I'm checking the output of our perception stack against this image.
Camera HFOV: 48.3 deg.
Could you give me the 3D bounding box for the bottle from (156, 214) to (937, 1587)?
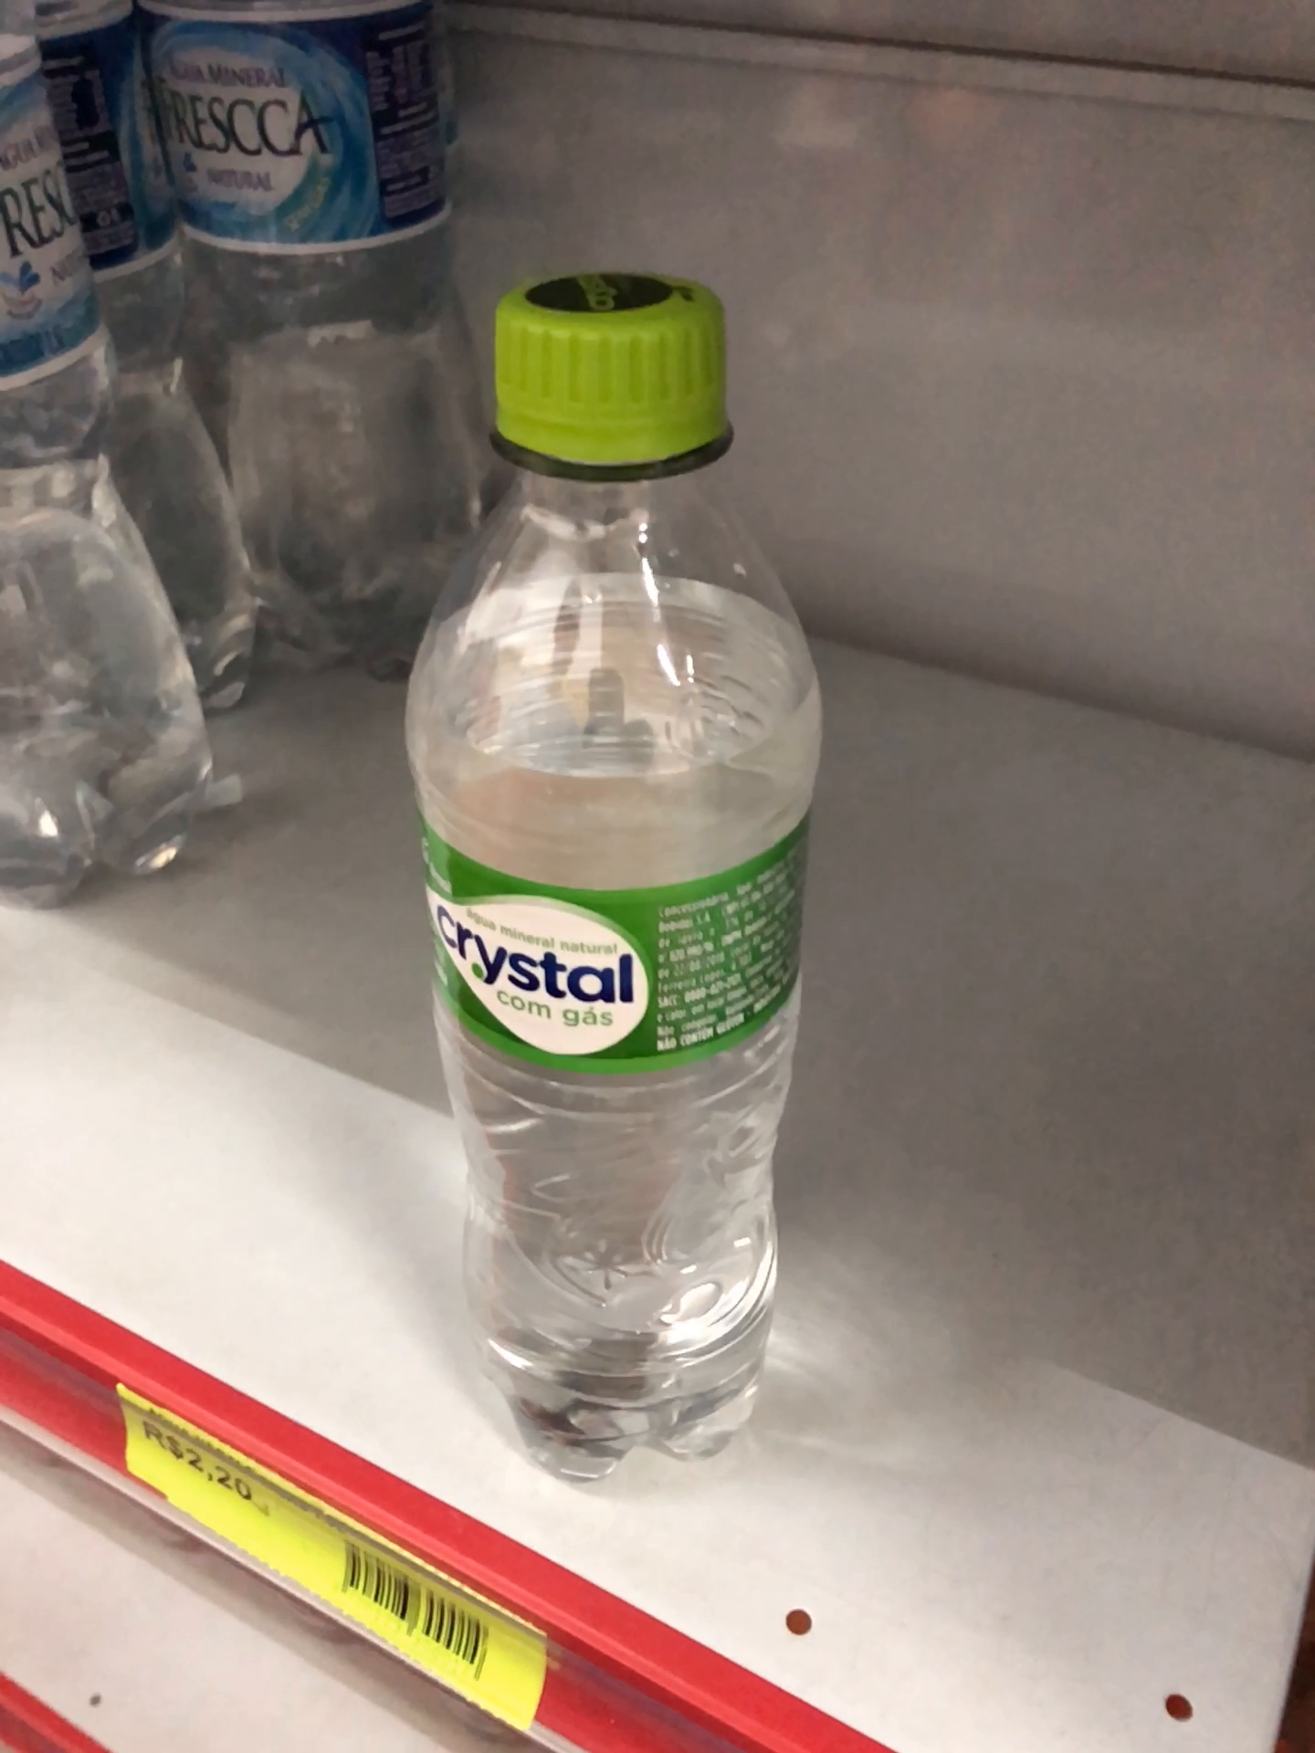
[{"bbox_3d":[-0.012,0.020,0.240,0.070,0.218,0.060,21,43,24],"label":"bottle"}]
